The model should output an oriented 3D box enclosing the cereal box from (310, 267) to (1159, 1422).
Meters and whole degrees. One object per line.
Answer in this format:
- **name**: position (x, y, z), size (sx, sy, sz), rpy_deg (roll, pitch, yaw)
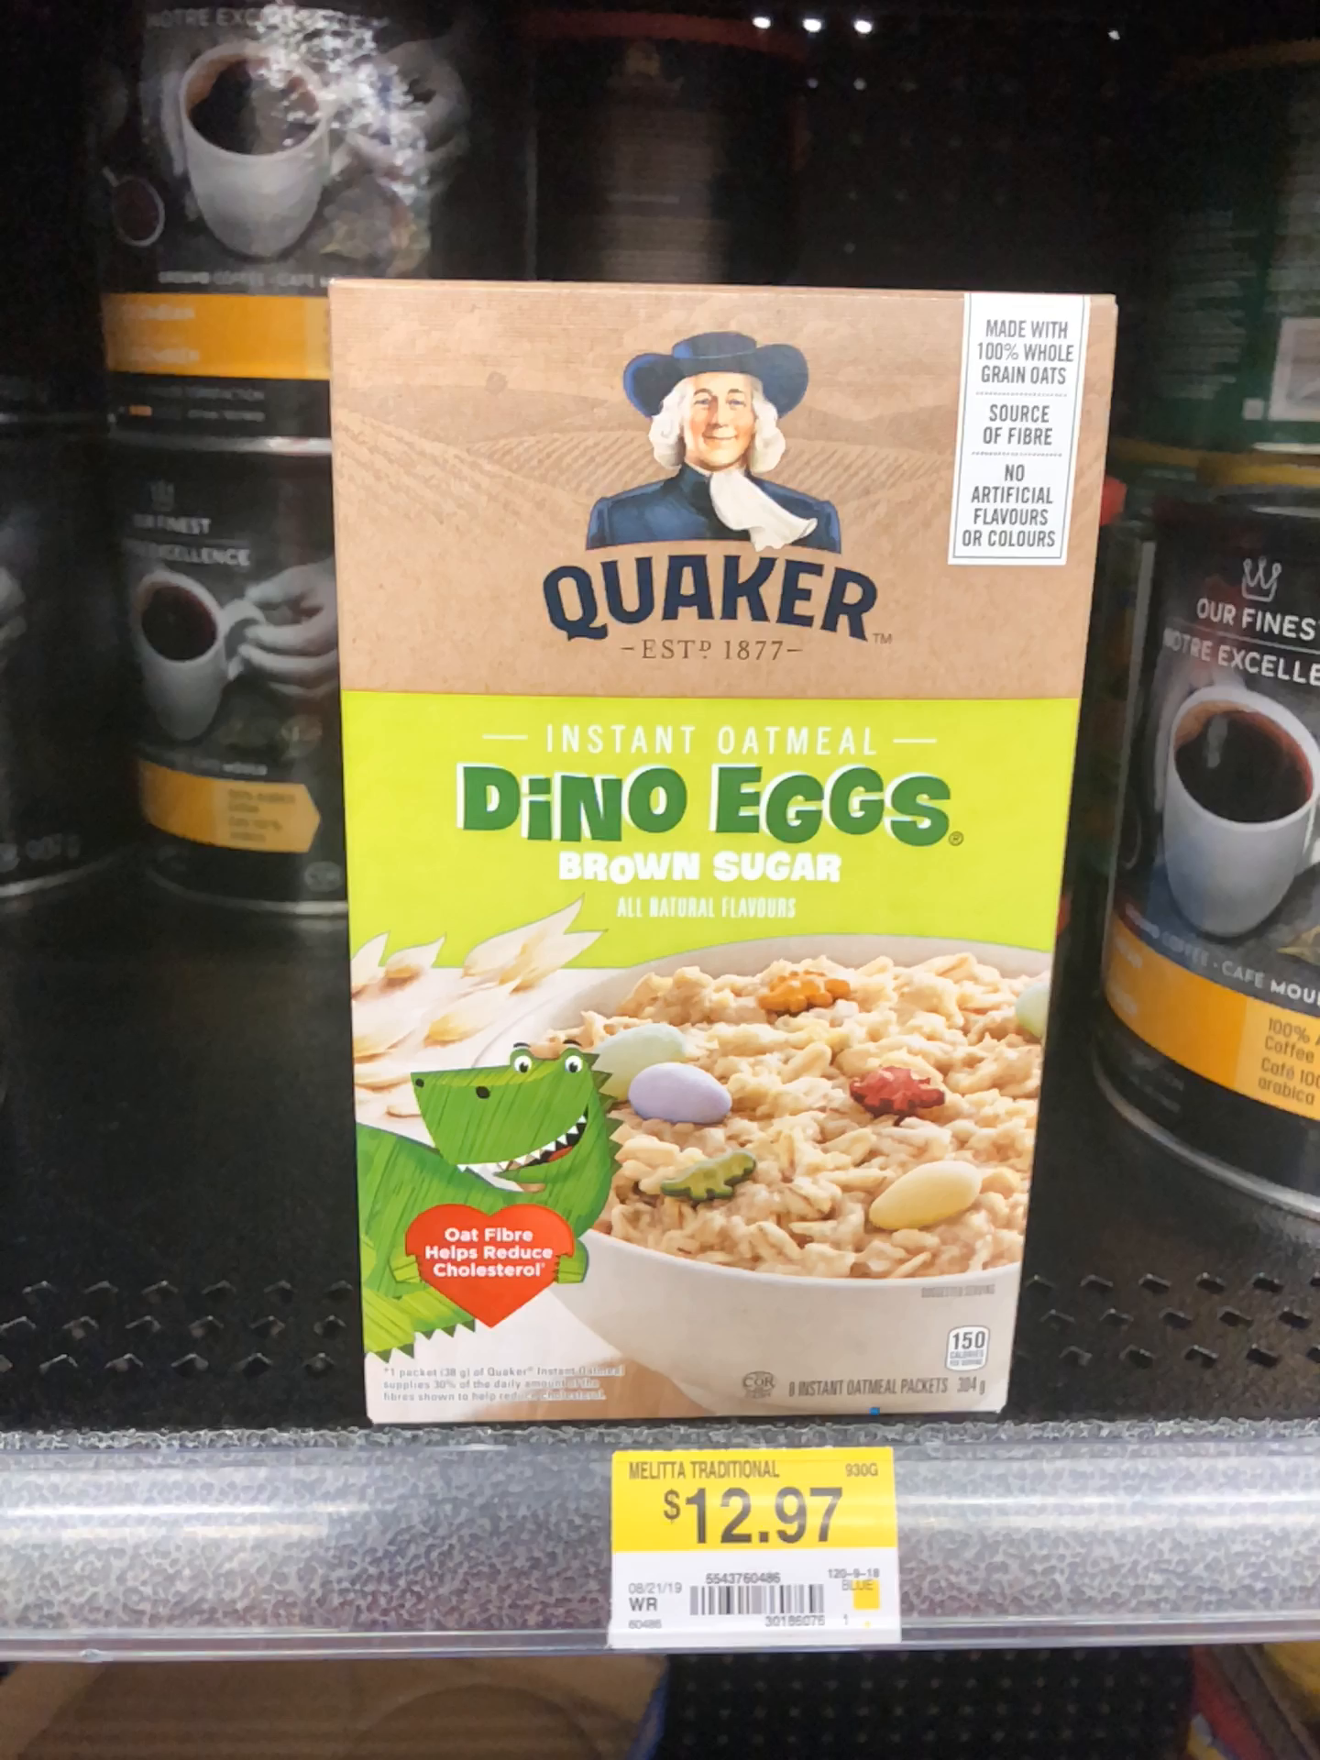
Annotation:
- **cereal box**: position (0.008, -0.005, 0.286), size (0.130, 0.199, 0.070), rpy_deg (0, 16, -4)
